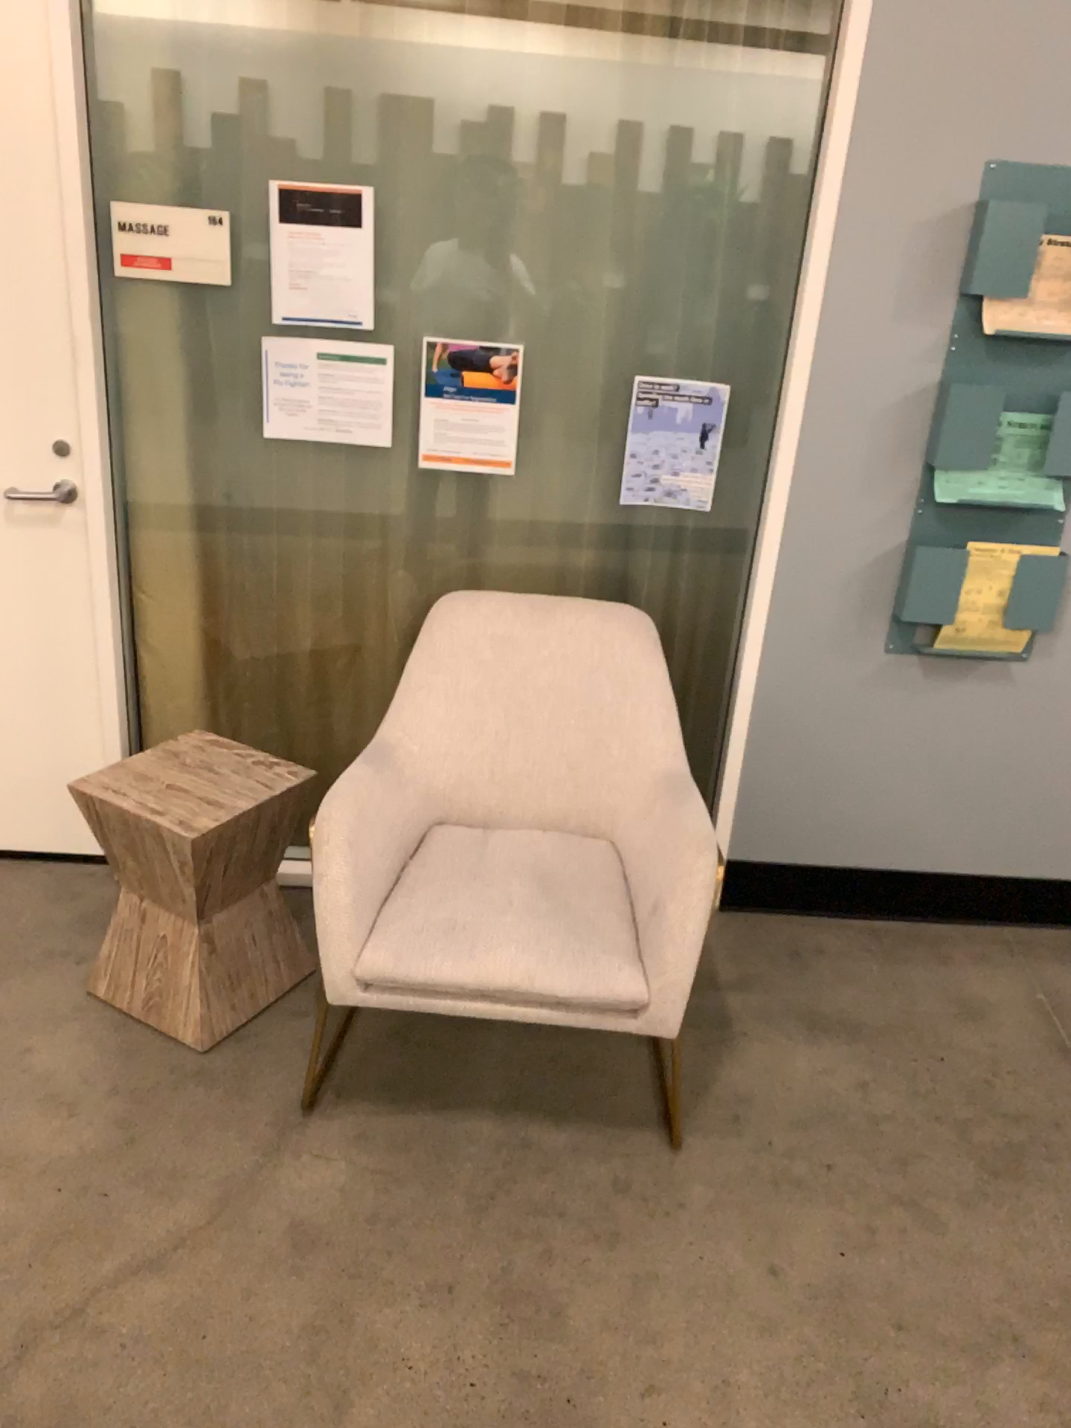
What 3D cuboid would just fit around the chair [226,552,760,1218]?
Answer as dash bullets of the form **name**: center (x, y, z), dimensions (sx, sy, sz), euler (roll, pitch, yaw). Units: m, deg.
- **chair**: center (-0.096, 0.276, 2.189), dimensions (0.780, 0.925, 0.875), euler (4, 23, -2)
